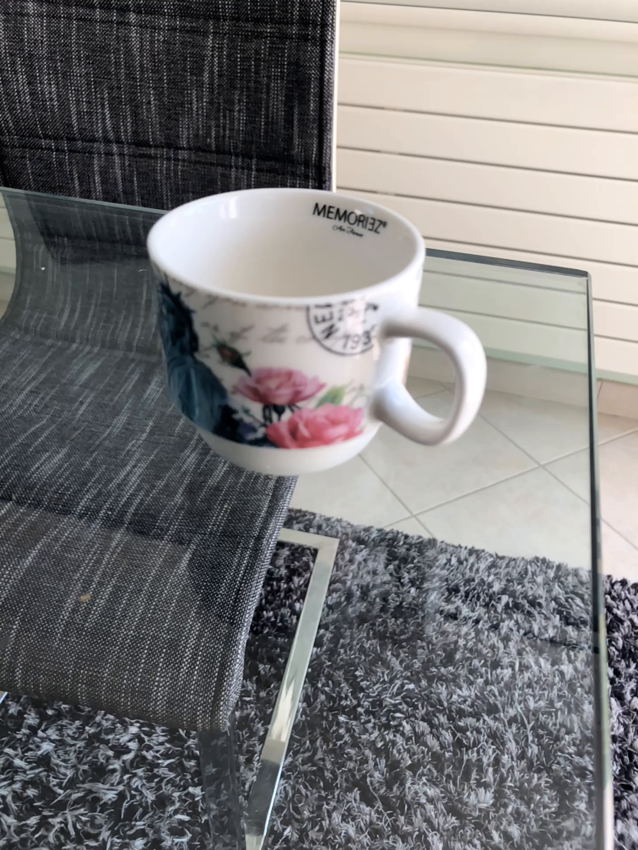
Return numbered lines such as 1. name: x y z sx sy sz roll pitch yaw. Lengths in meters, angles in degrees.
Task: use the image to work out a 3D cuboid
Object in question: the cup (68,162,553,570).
1. cup: -0.004 -0.024 0.179 0.070 0.050 0.090 -30 47 -35
